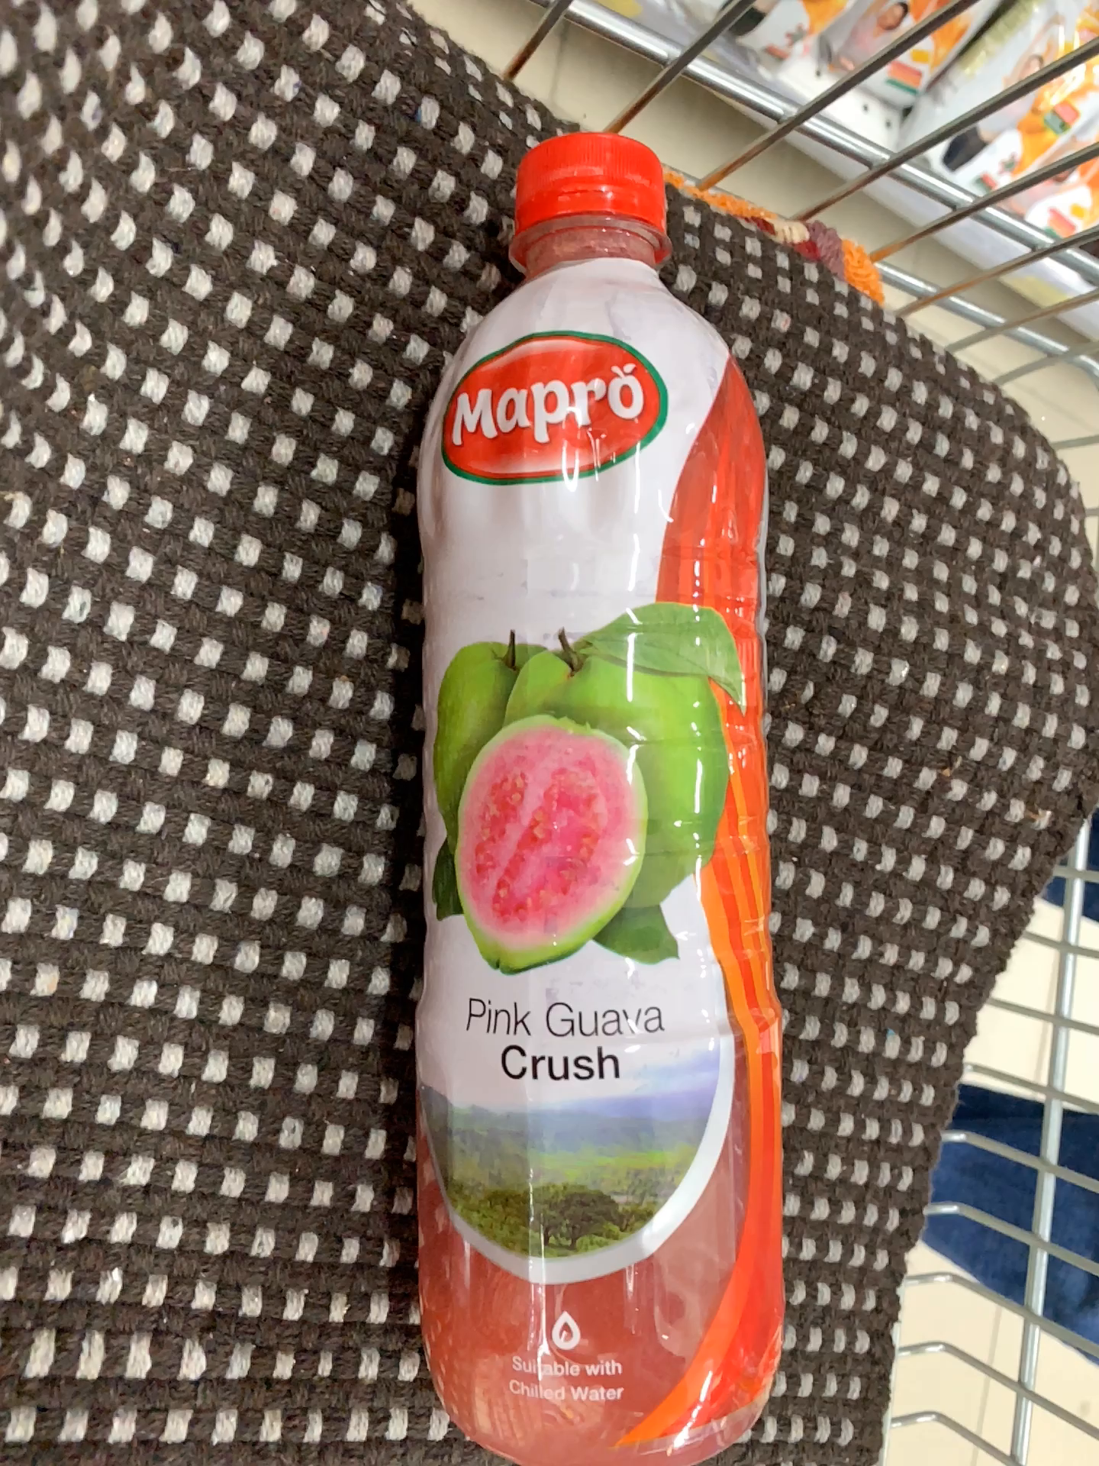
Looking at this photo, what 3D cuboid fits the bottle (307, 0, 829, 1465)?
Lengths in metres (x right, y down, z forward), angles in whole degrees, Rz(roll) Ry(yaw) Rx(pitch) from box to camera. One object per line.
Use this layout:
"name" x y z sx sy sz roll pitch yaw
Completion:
"bottle" 0.008 0.000 0.212 0.070 0.070 0.240 10 77 -75
